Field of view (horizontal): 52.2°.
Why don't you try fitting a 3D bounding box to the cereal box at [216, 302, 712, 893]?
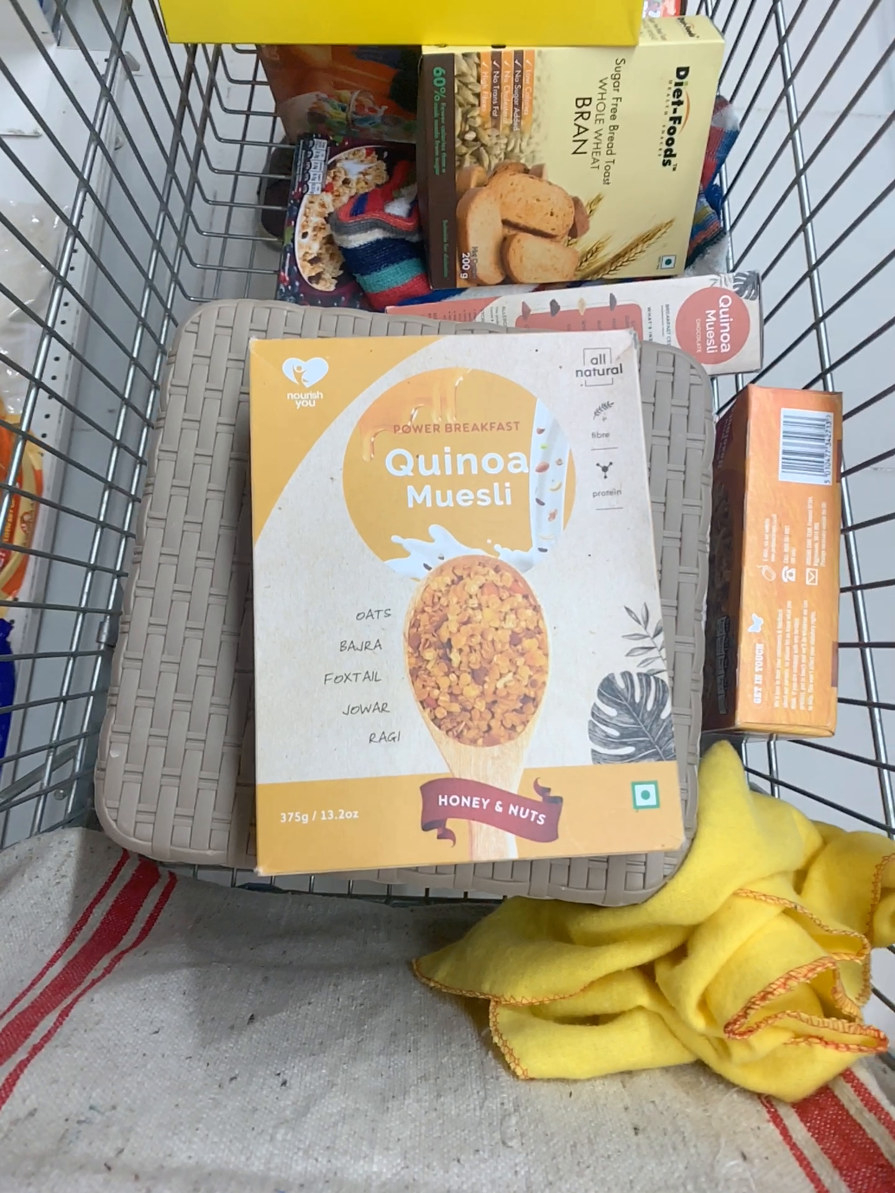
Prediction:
[{"bbox_3d":[0.000,0.001,0.354,0.160,0.080,0.200,-3,79,-2],"label":"cereal box"}]
